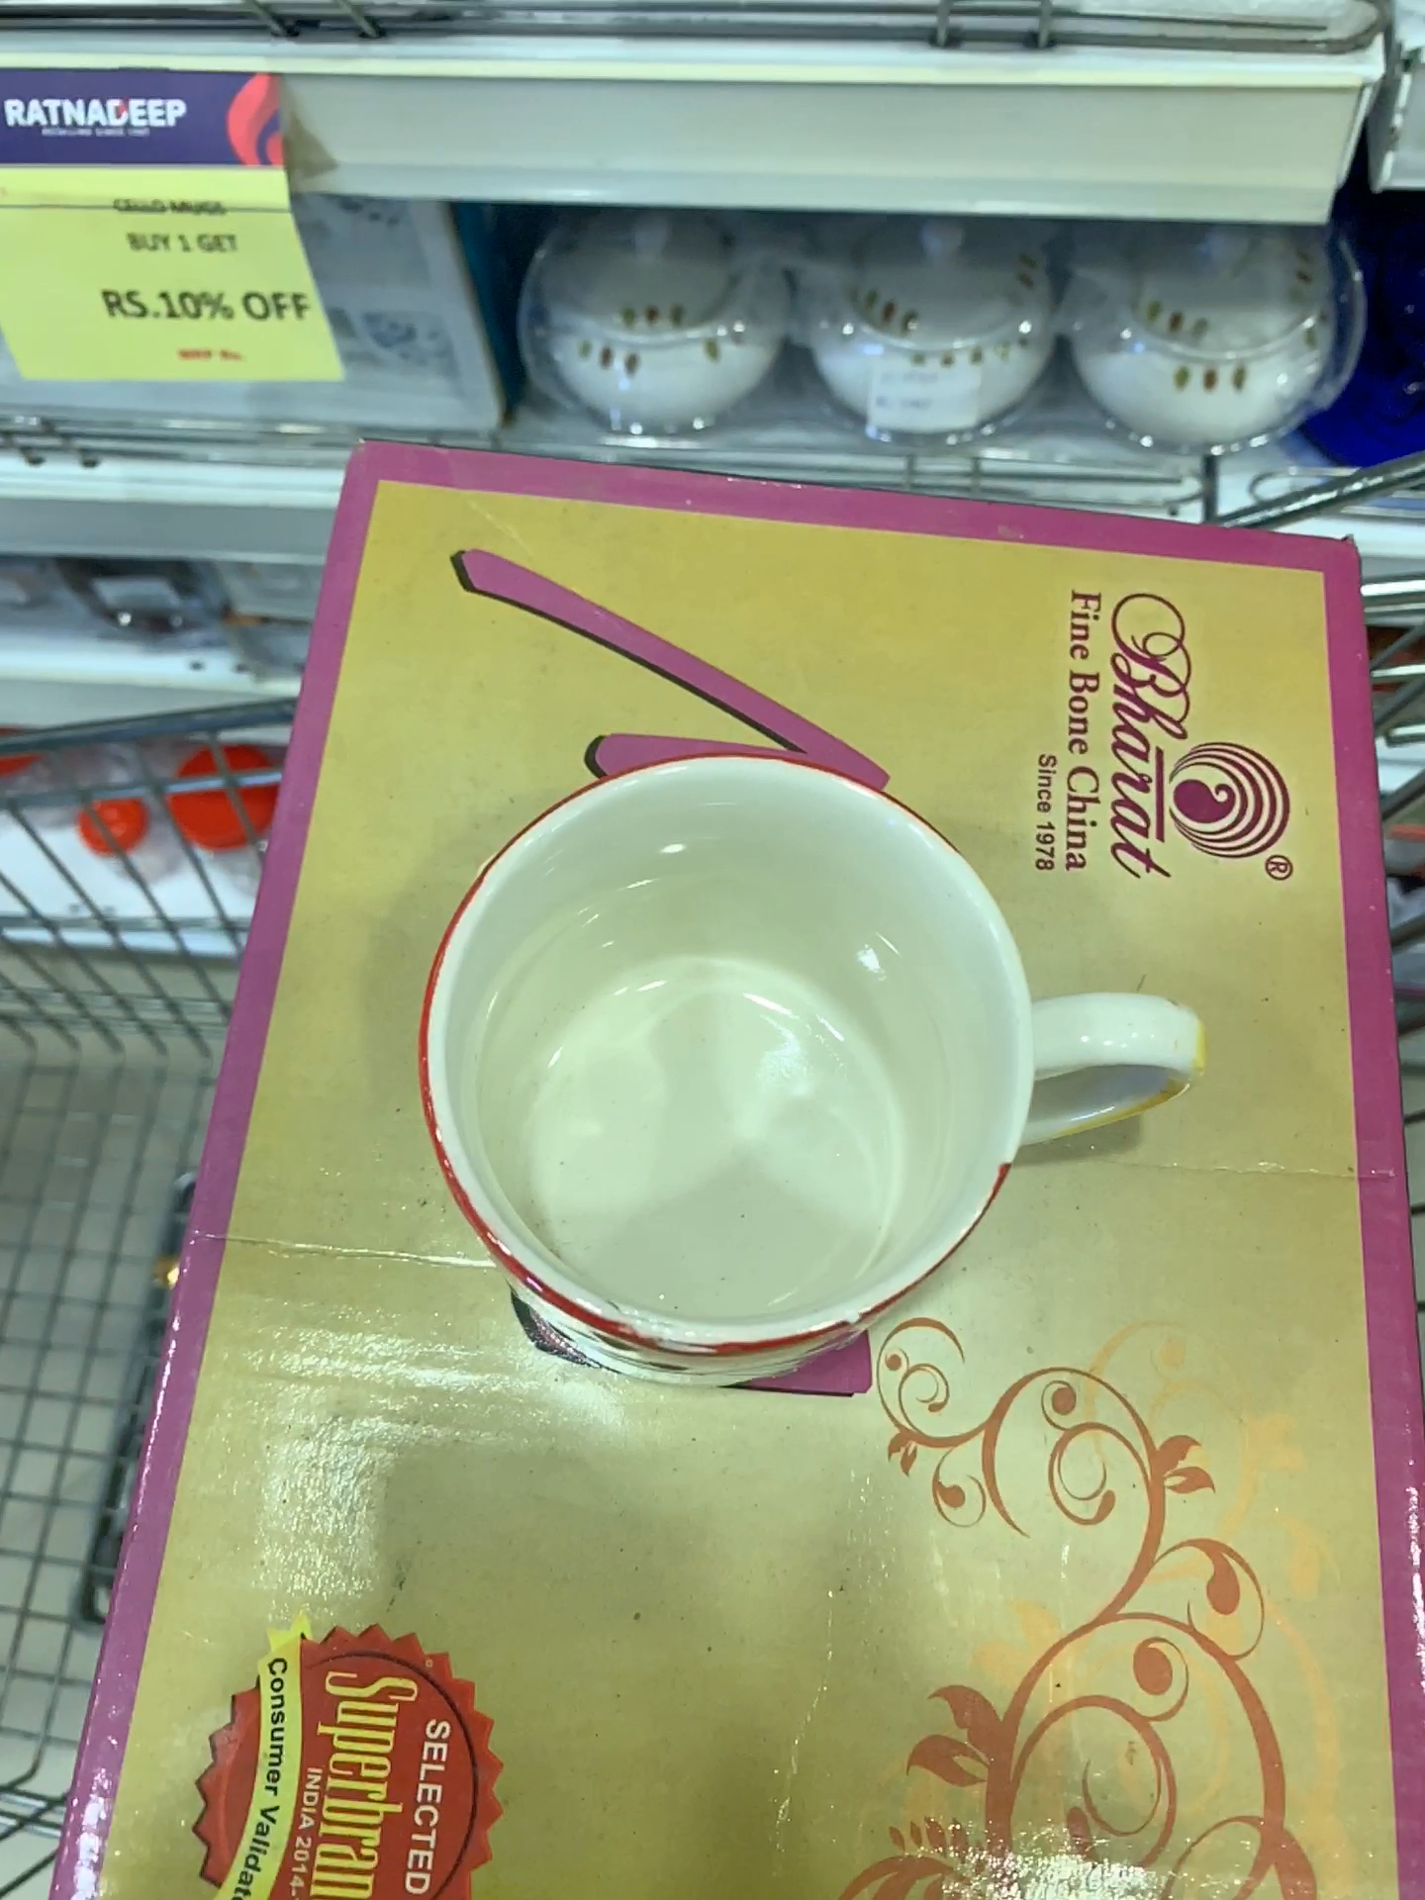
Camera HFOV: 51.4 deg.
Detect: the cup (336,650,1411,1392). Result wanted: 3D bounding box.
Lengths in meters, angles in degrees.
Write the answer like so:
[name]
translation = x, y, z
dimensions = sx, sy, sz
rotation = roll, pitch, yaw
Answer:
[cup]
translation = 0.015, 0.014, 0.197
dimensions = 0.110, 0.070, 0.080
rotation = 0, 69, -3
